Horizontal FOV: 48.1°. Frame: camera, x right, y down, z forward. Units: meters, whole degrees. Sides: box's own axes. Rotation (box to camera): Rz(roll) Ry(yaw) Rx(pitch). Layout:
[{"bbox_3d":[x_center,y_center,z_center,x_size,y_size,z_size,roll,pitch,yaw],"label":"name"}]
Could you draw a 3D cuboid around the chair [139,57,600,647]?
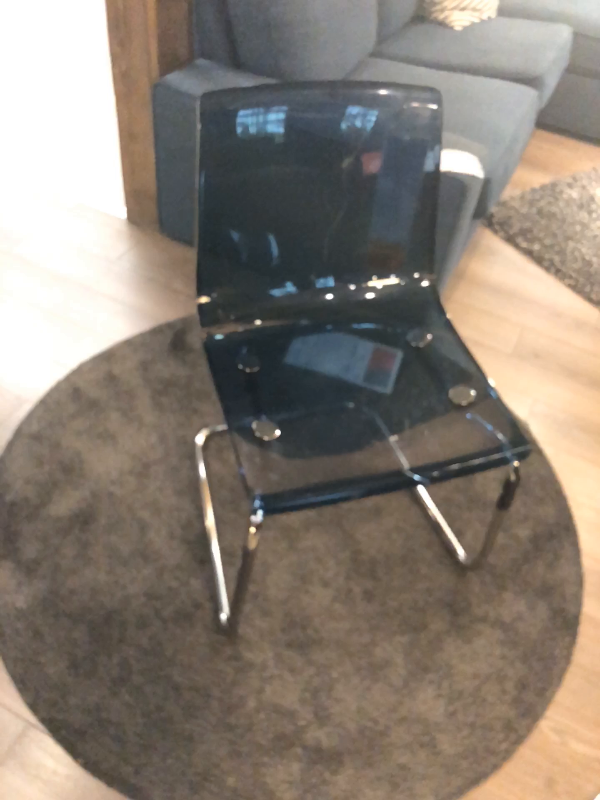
[{"bbox_3d":[0.077,-0.054,1.200,0.581,0.867,0.501,-10,49,-17],"label":"chair"}]
